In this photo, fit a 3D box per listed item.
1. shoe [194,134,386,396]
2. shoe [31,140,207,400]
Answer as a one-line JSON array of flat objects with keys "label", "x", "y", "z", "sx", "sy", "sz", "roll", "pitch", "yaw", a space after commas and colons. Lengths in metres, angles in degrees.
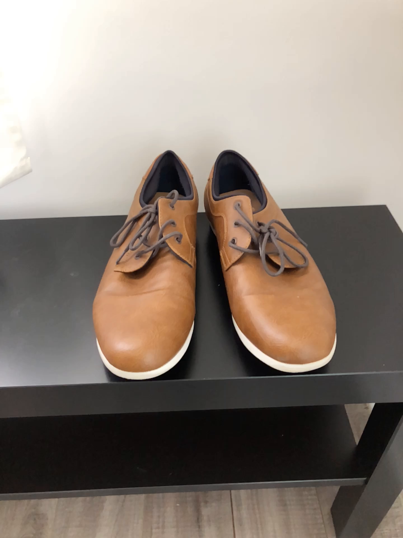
[{"label": "shoe", "x": 0.064, "y": -0.027, "z": 0.454, "sx": 0.104, "sy": 0.100, "sz": 0.281, "roll": -6, "pitch": 41, "yaw": -5}, {"label": "shoe", "x": -0.056, "y": -0.020, "z": 0.440, "sx": 0.104, "sy": 0.100, "sz": 0.271, "roll": 2, "pitch": 41, "yaw": 4}]
